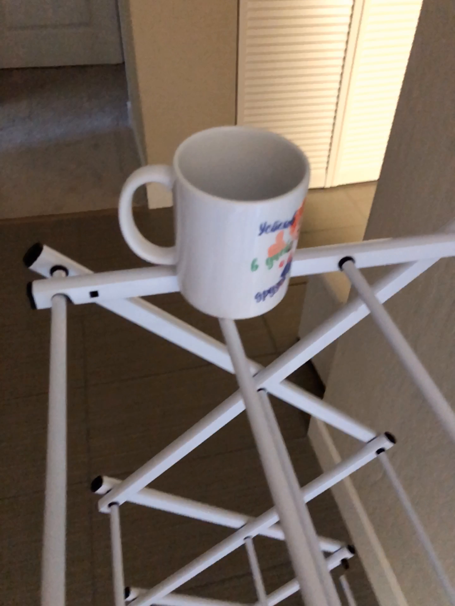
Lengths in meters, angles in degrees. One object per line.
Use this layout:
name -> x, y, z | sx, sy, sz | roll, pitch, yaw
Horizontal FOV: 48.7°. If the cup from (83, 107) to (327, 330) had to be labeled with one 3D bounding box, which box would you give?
cup -> -0.010, -0.056, 0.329 | 0.130, 0.090, 0.090 | 9, 47, 3
